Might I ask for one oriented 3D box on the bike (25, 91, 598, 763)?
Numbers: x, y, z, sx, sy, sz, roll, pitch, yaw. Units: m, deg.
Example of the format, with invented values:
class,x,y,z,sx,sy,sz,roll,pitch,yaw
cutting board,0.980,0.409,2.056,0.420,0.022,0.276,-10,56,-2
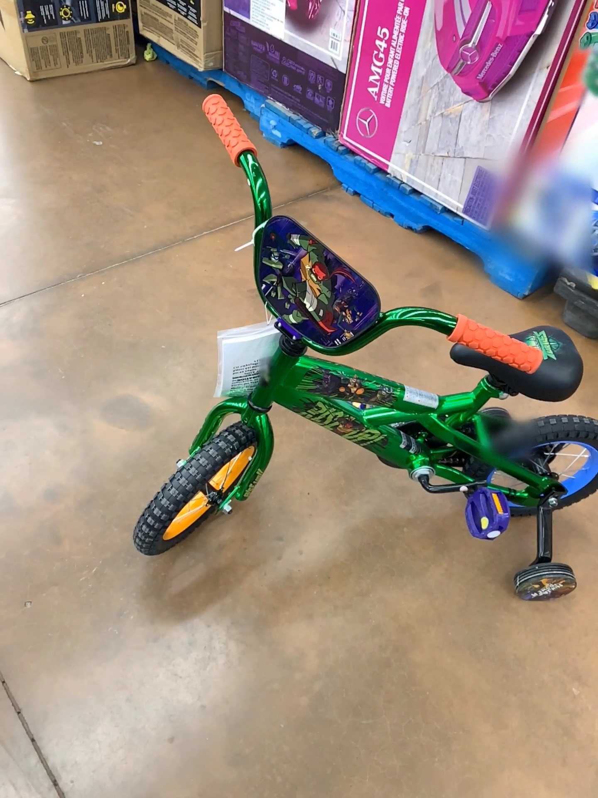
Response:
class,x,y,z,sx,sy,sz,roll,pitch,yaw
bike,0.198,0.044,0.866,0.829,0.677,0.533,-2,48,-11
